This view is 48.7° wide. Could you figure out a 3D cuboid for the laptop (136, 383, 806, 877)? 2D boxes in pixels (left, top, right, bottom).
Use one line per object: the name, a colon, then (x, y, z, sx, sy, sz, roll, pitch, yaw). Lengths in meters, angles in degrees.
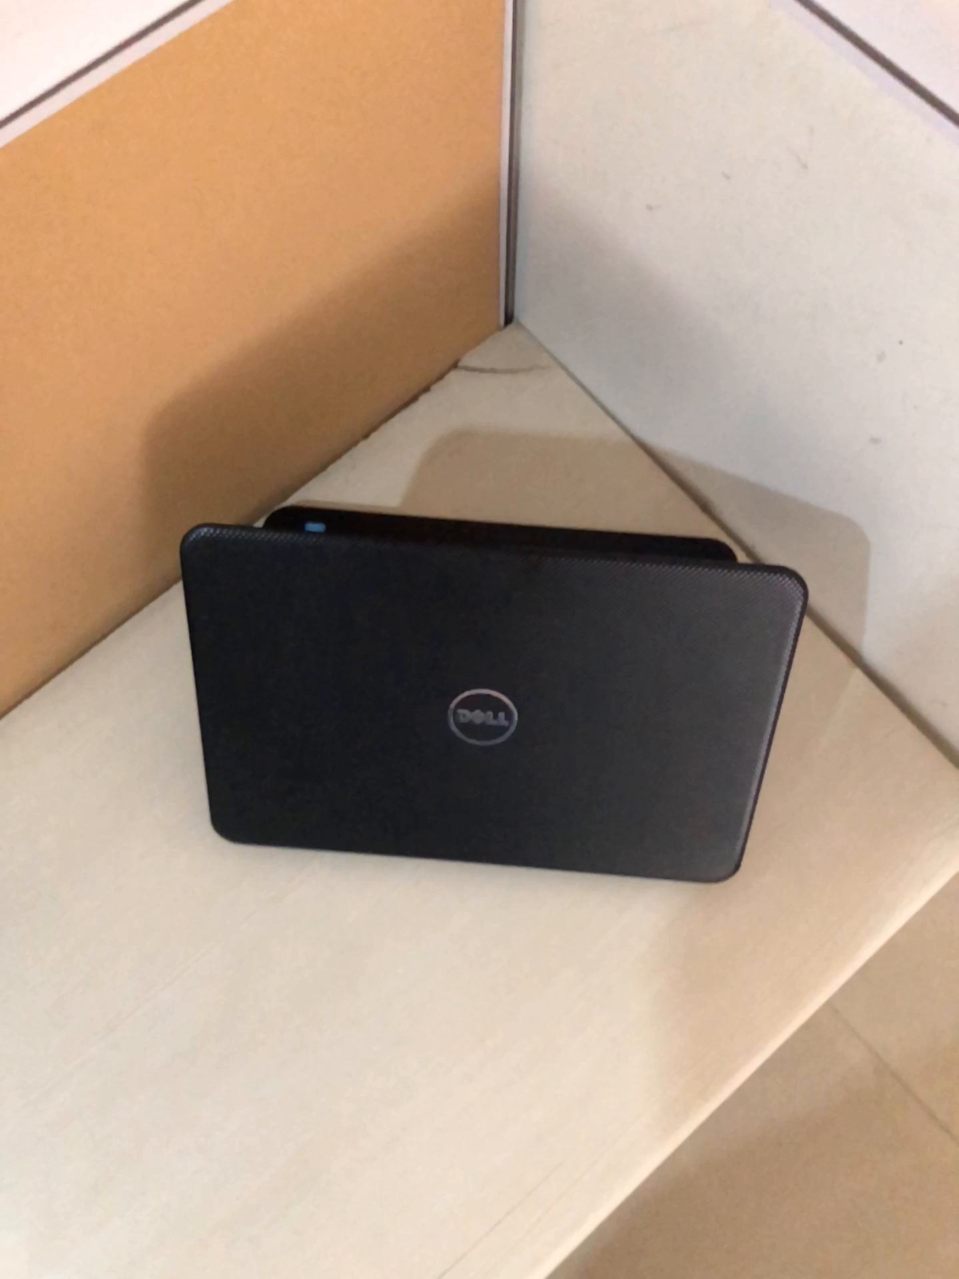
laptop: (0.007, 0.006, 0.682, 0.351, 0.180, 0.255, 4, 72, -1)
